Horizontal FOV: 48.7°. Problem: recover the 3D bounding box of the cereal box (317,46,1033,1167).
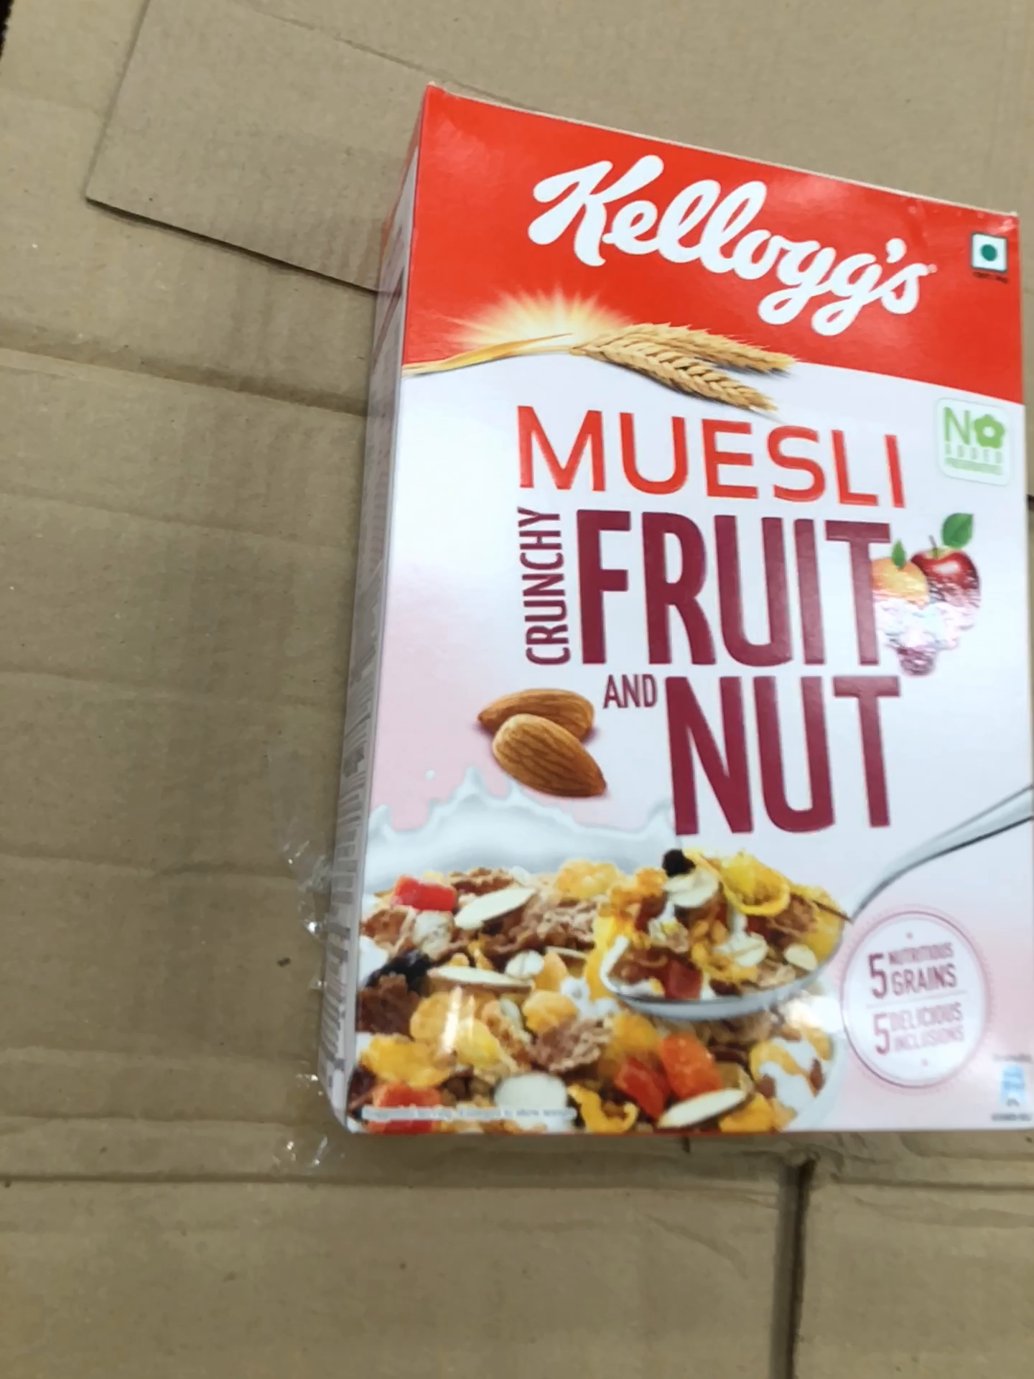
[{"bbox_3d":[0.044,-0.016,0.306,0.170,0.080,0.250,5,79,-14],"label":"cereal box"}]
